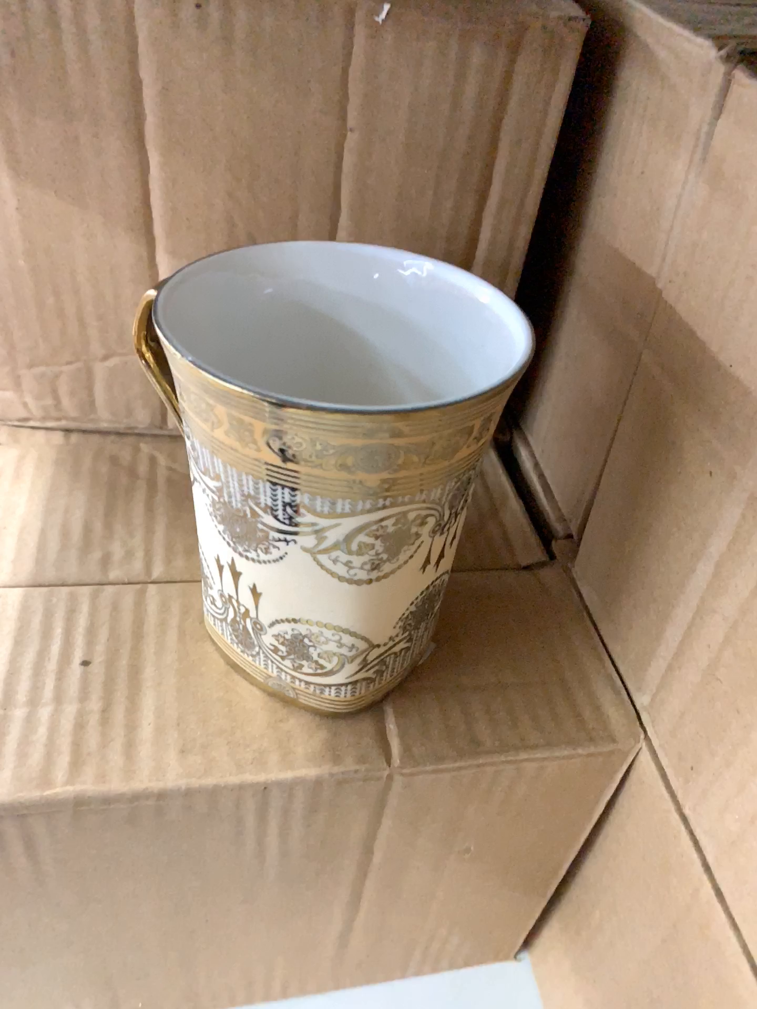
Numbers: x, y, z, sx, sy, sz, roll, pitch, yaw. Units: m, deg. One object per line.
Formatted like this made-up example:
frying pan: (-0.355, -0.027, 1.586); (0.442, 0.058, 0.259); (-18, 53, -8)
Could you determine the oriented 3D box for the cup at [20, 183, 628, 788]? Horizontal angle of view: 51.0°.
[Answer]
cup: (-0.014, -0.013, 0.204); (0.105, 0.092, 0.084); (30, 45, 26)
